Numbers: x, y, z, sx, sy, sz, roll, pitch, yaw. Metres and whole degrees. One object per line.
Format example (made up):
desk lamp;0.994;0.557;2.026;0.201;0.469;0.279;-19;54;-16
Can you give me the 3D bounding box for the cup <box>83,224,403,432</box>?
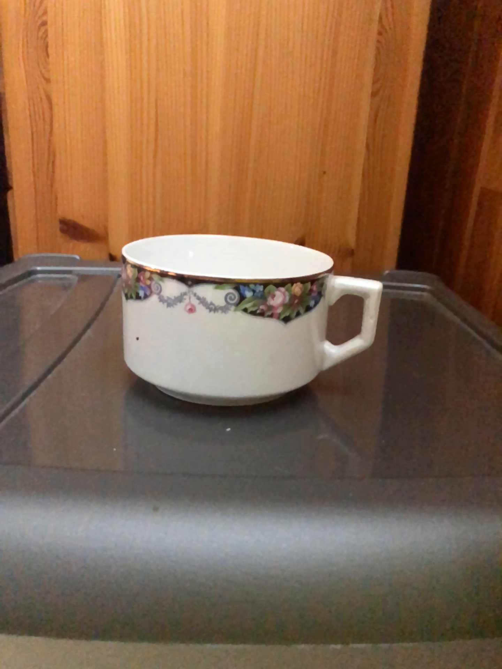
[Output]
cup;0.002;-0.012;0.276;0.130;0.060;0.101;7;19;10
